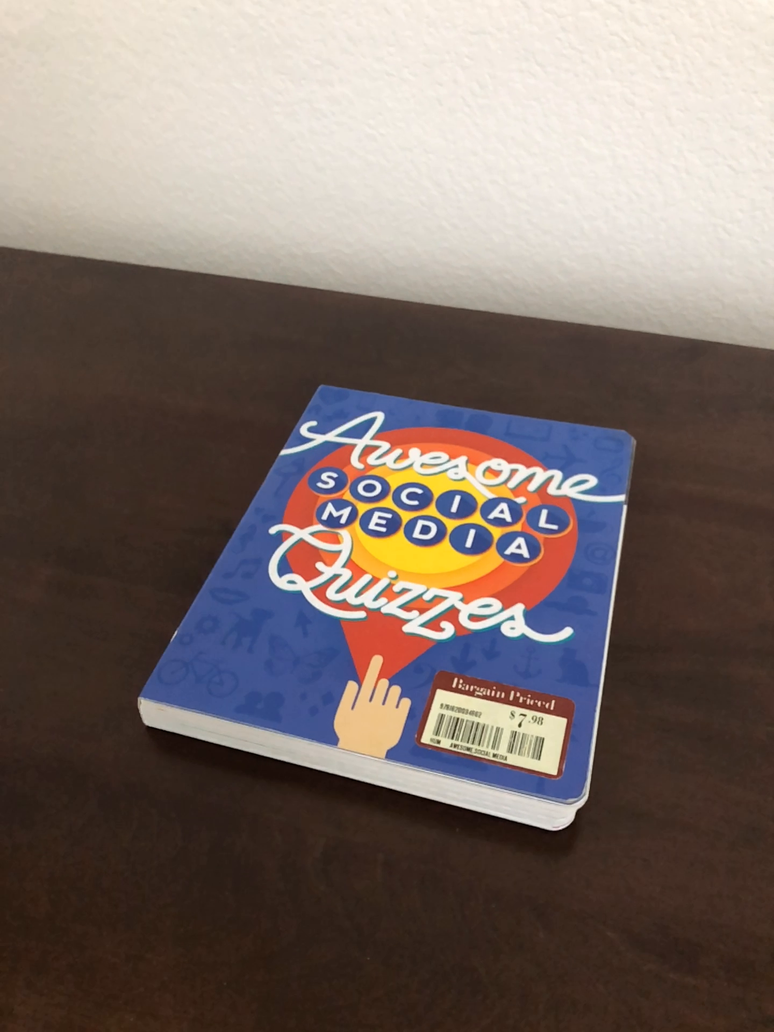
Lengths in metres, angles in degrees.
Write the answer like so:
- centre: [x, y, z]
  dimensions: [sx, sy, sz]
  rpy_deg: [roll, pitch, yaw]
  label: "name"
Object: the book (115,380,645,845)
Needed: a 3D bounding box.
- centre: [0.013, 0.019, 0.369]
  dimensions: [0.172, 0.020, 0.202]
  rpy_deg: [10, 46, 13]
  label: "book"
